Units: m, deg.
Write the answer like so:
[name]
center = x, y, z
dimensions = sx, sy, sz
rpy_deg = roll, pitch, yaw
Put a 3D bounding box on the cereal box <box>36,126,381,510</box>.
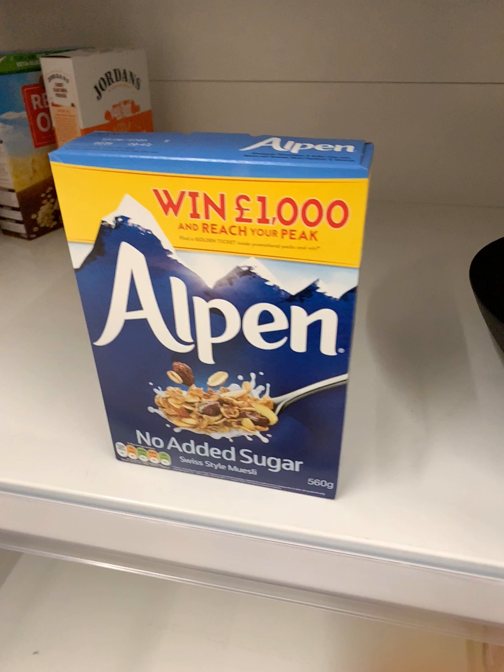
[cereal box]
center = -0.020, -0.006, 0.348
dimensions = 0.180, 0.238, 0.061
rpy_deg = 7, 32, 13
